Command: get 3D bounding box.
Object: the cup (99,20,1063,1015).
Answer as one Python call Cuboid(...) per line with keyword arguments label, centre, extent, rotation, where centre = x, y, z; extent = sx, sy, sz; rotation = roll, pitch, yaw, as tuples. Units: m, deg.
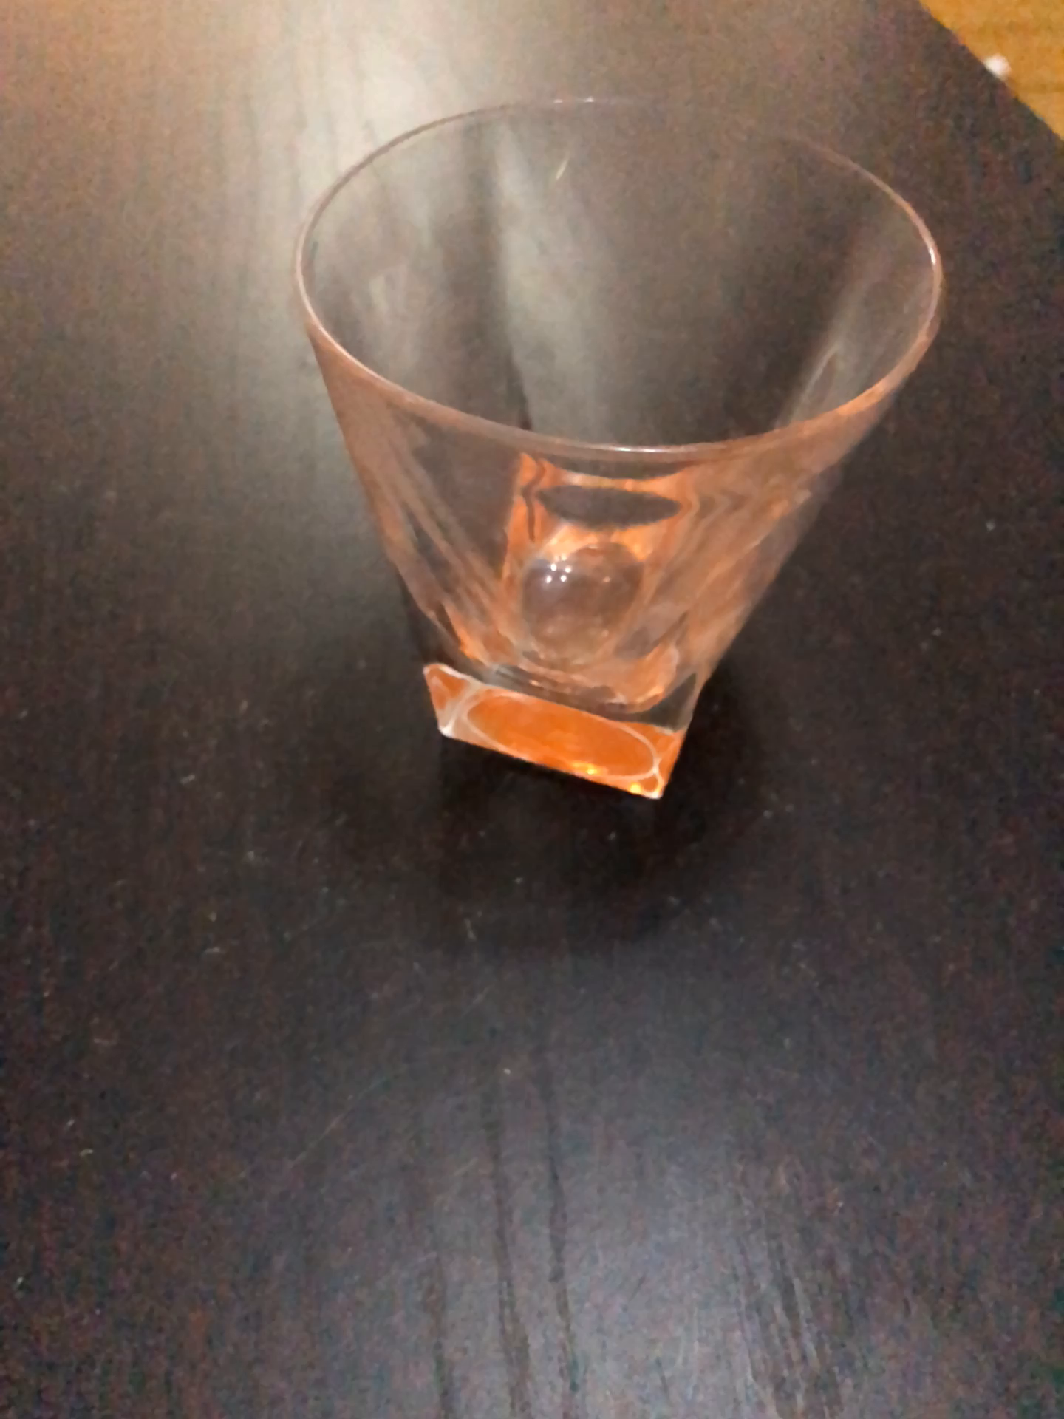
Cuboid(label="cup", centre=(0.016, -0.037, 0.210), extent=(0.110, 0.099, 0.111), rotation=(1, 50, -1))
